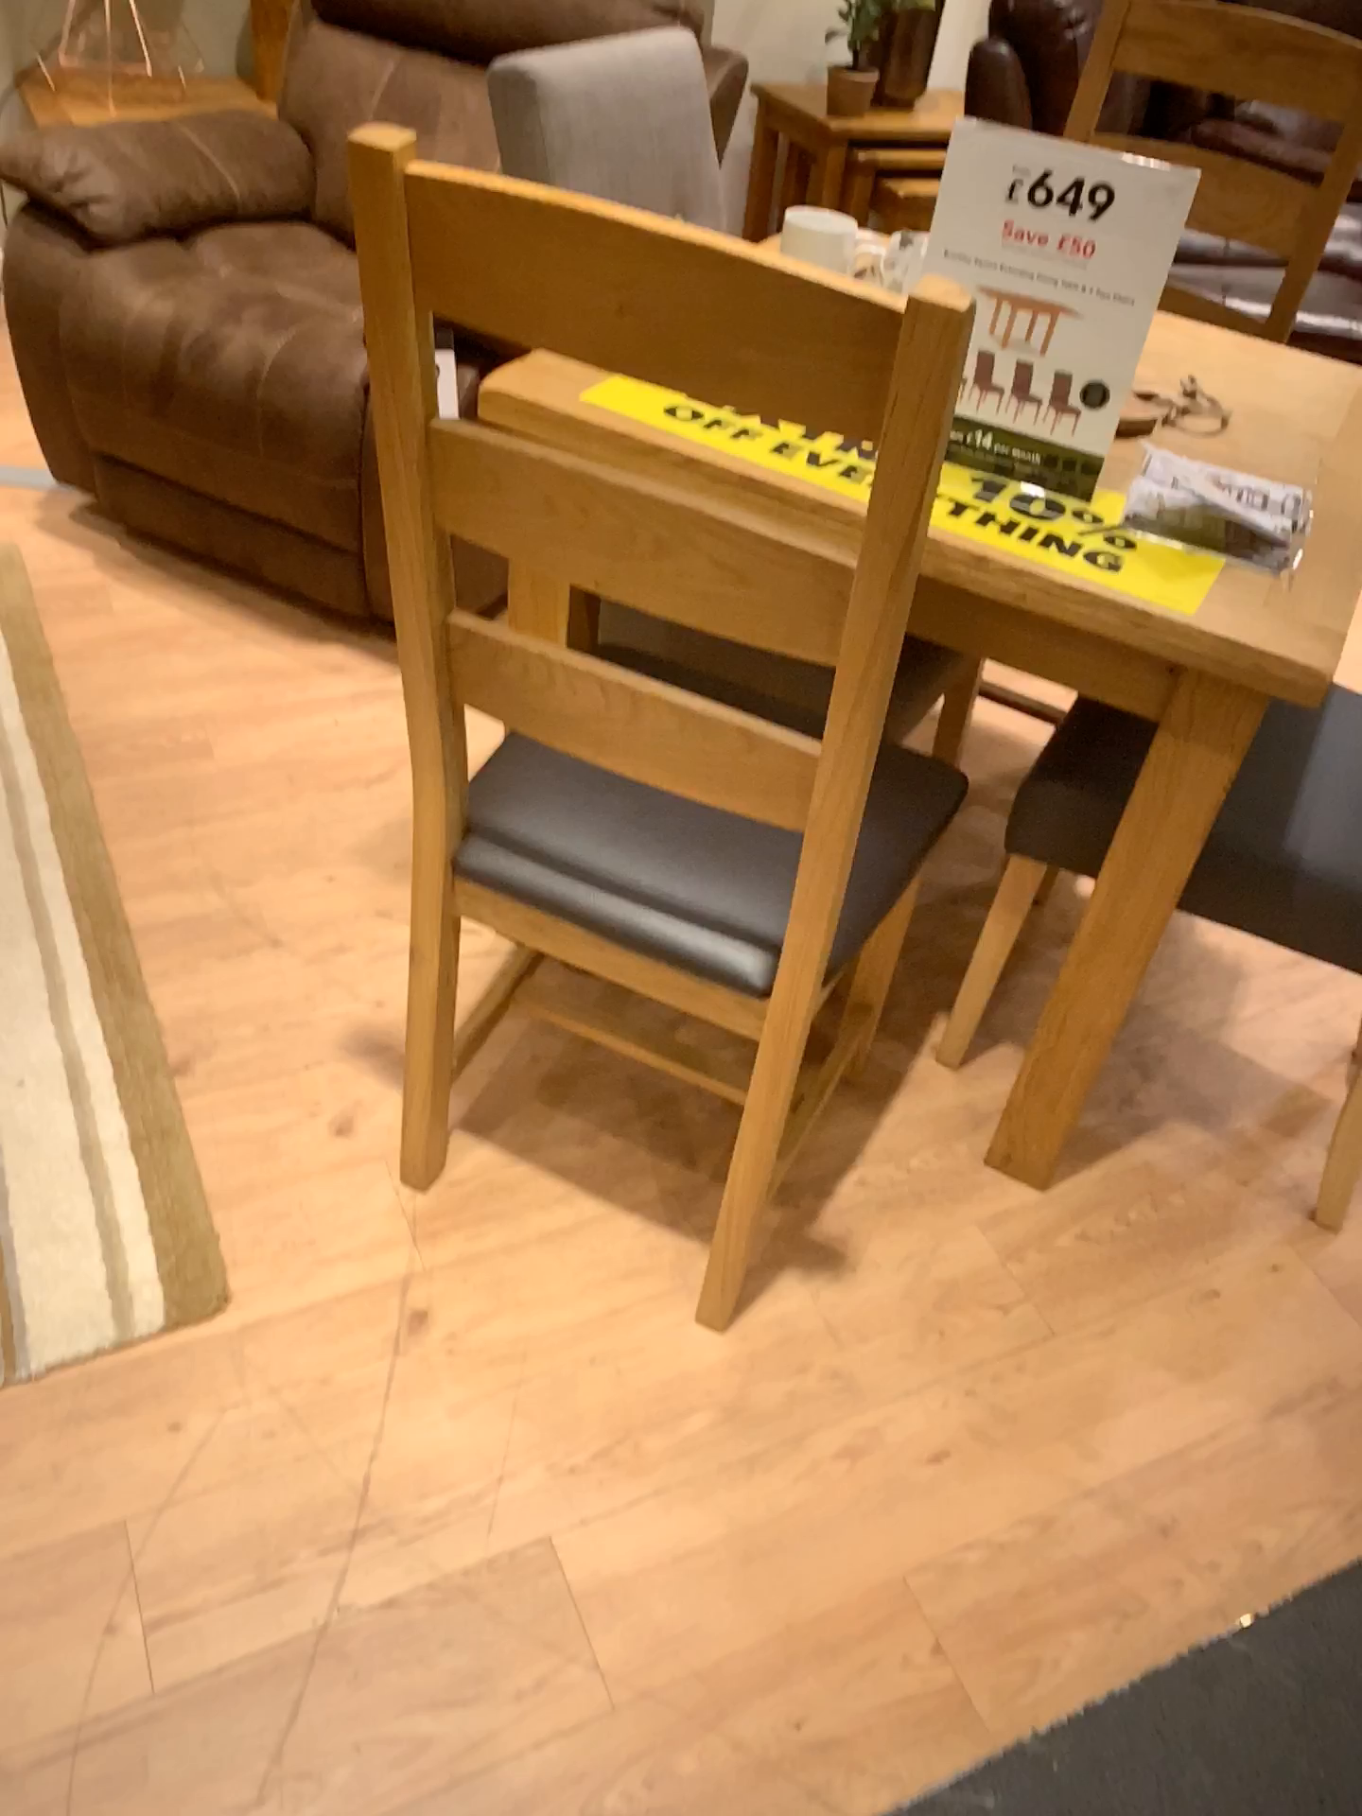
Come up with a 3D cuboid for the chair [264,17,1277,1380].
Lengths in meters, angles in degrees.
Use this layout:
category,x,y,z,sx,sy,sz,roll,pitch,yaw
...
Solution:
category,x,y,z,sx,sy,sz,roll,pitch,yaw
chair,0.048,-0.175,1.275,0.555,0.958,0.581,21,41,12
